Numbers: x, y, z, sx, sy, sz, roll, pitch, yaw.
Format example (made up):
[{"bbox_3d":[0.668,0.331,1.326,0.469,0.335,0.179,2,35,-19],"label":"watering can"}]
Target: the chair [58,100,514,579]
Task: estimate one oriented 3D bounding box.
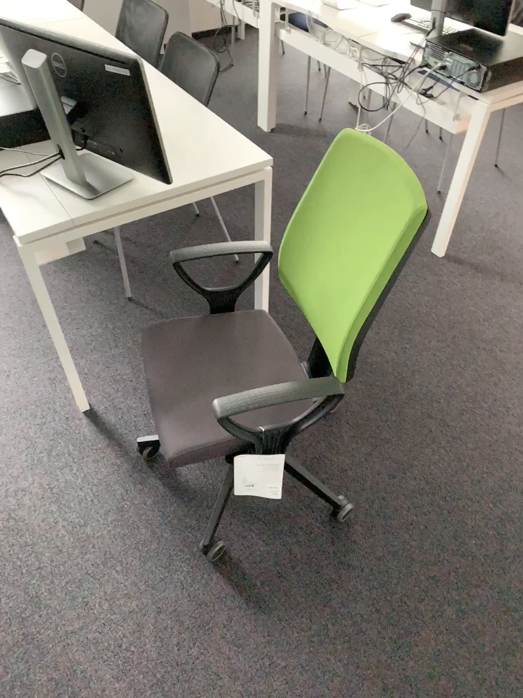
[{"bbox_3d":[-0.011,0.014,1.466,0.761,1.045,0.623,-13,49,-14],"label":"chair"}]
